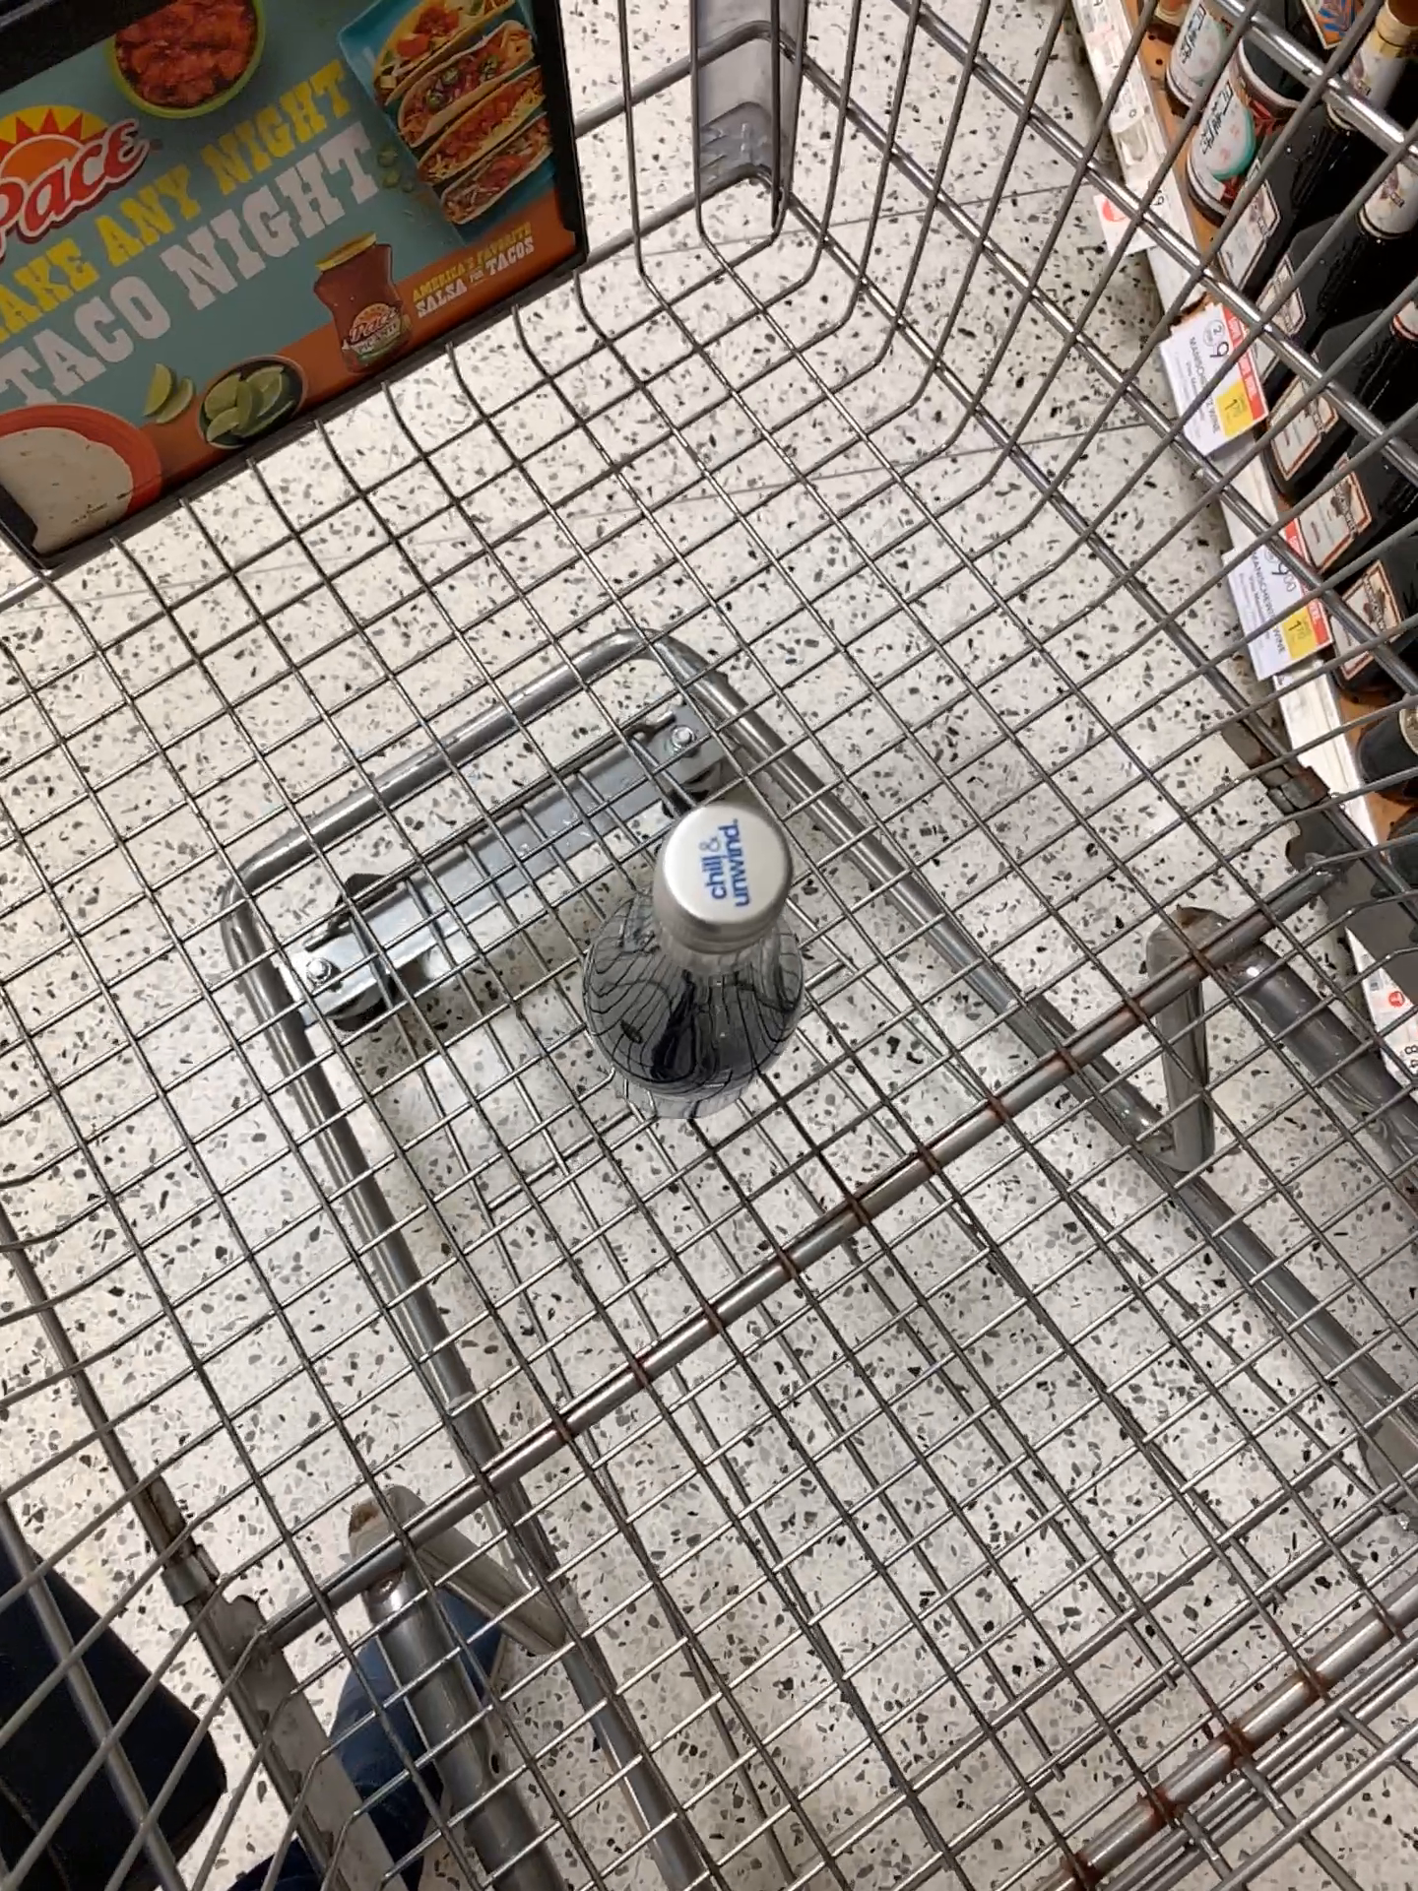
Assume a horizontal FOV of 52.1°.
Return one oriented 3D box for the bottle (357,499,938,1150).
[{"bbox_3d":[-0.016,-0.008,0.463,0.090,0.309,0.090,0,78,-1],"label":"bottle"}]
